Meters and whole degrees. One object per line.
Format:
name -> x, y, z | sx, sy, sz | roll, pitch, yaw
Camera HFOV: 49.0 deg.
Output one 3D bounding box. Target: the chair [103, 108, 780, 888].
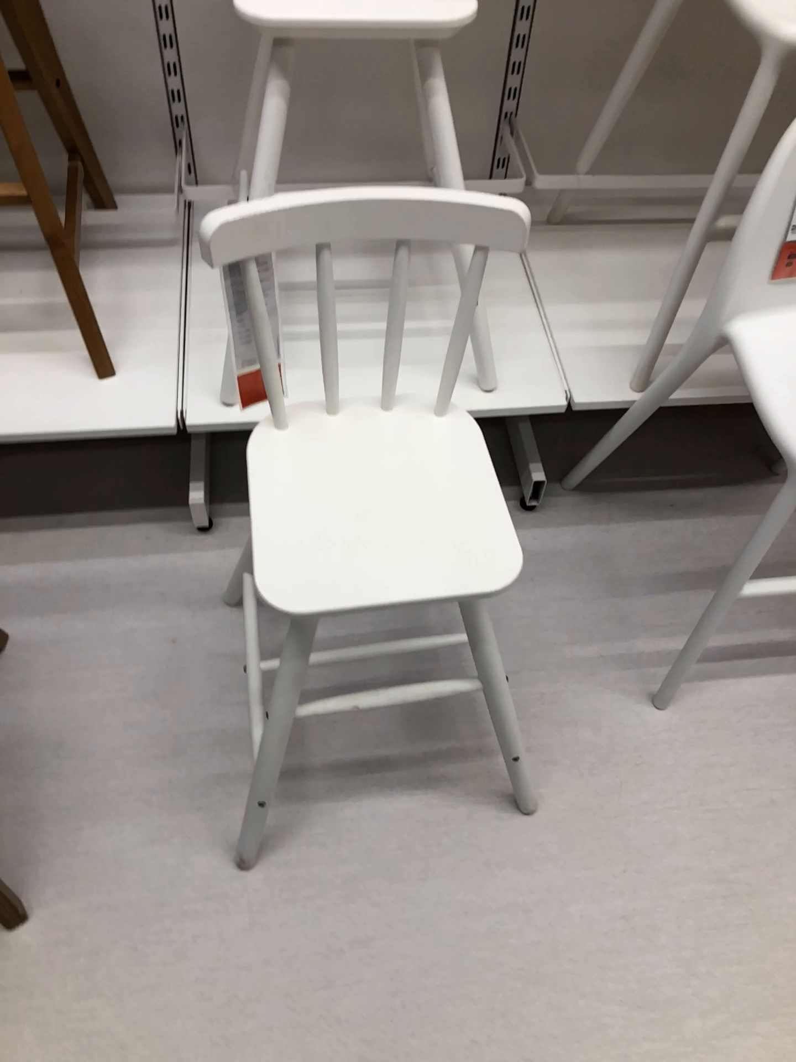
chair -> -0.023, 0.019, 1.055 | 0.470, 0.796, 0.503 | -7, 54, -9
